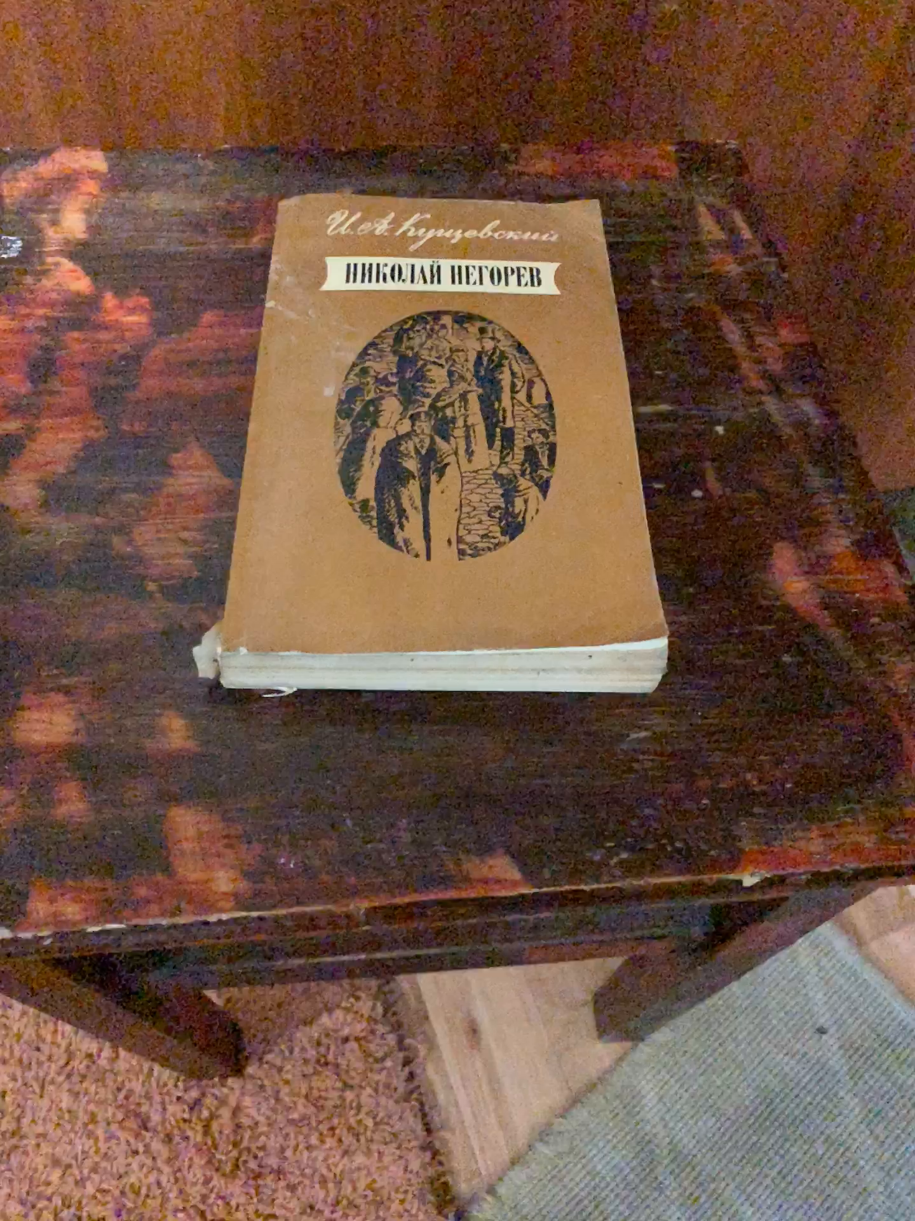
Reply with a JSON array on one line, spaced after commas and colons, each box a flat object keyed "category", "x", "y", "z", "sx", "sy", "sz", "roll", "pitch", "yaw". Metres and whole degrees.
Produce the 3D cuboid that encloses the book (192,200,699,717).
[{"category": "book", "x": -0.005, "y": -0.060, "z": 0.302, "sx": 0.130, "sy": 0.024, "sz": 0.191, "roll": -1, "pitch": 59, "yaw": -1}]
